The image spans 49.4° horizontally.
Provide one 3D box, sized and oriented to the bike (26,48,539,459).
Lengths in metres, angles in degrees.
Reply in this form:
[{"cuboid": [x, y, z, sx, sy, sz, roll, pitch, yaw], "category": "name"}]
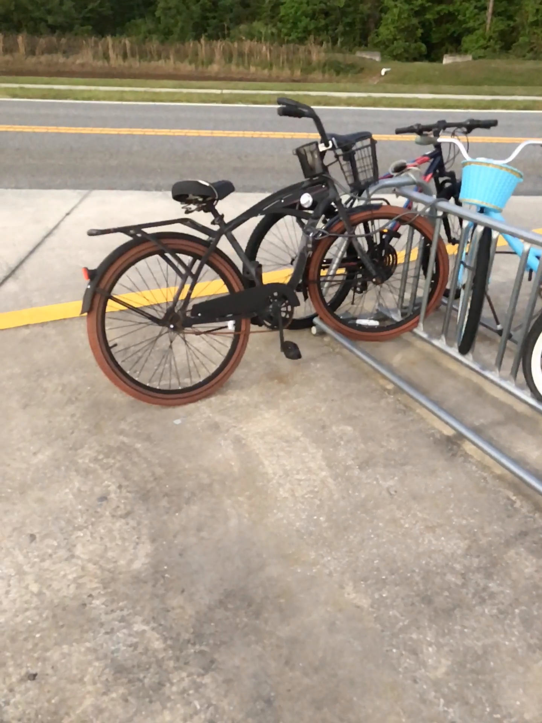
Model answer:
[{"cuboid": [0.042, -0.585, 2.530, 1.722, 1.117, 0.833, -19, 35, -24], "category": "bike"}]
